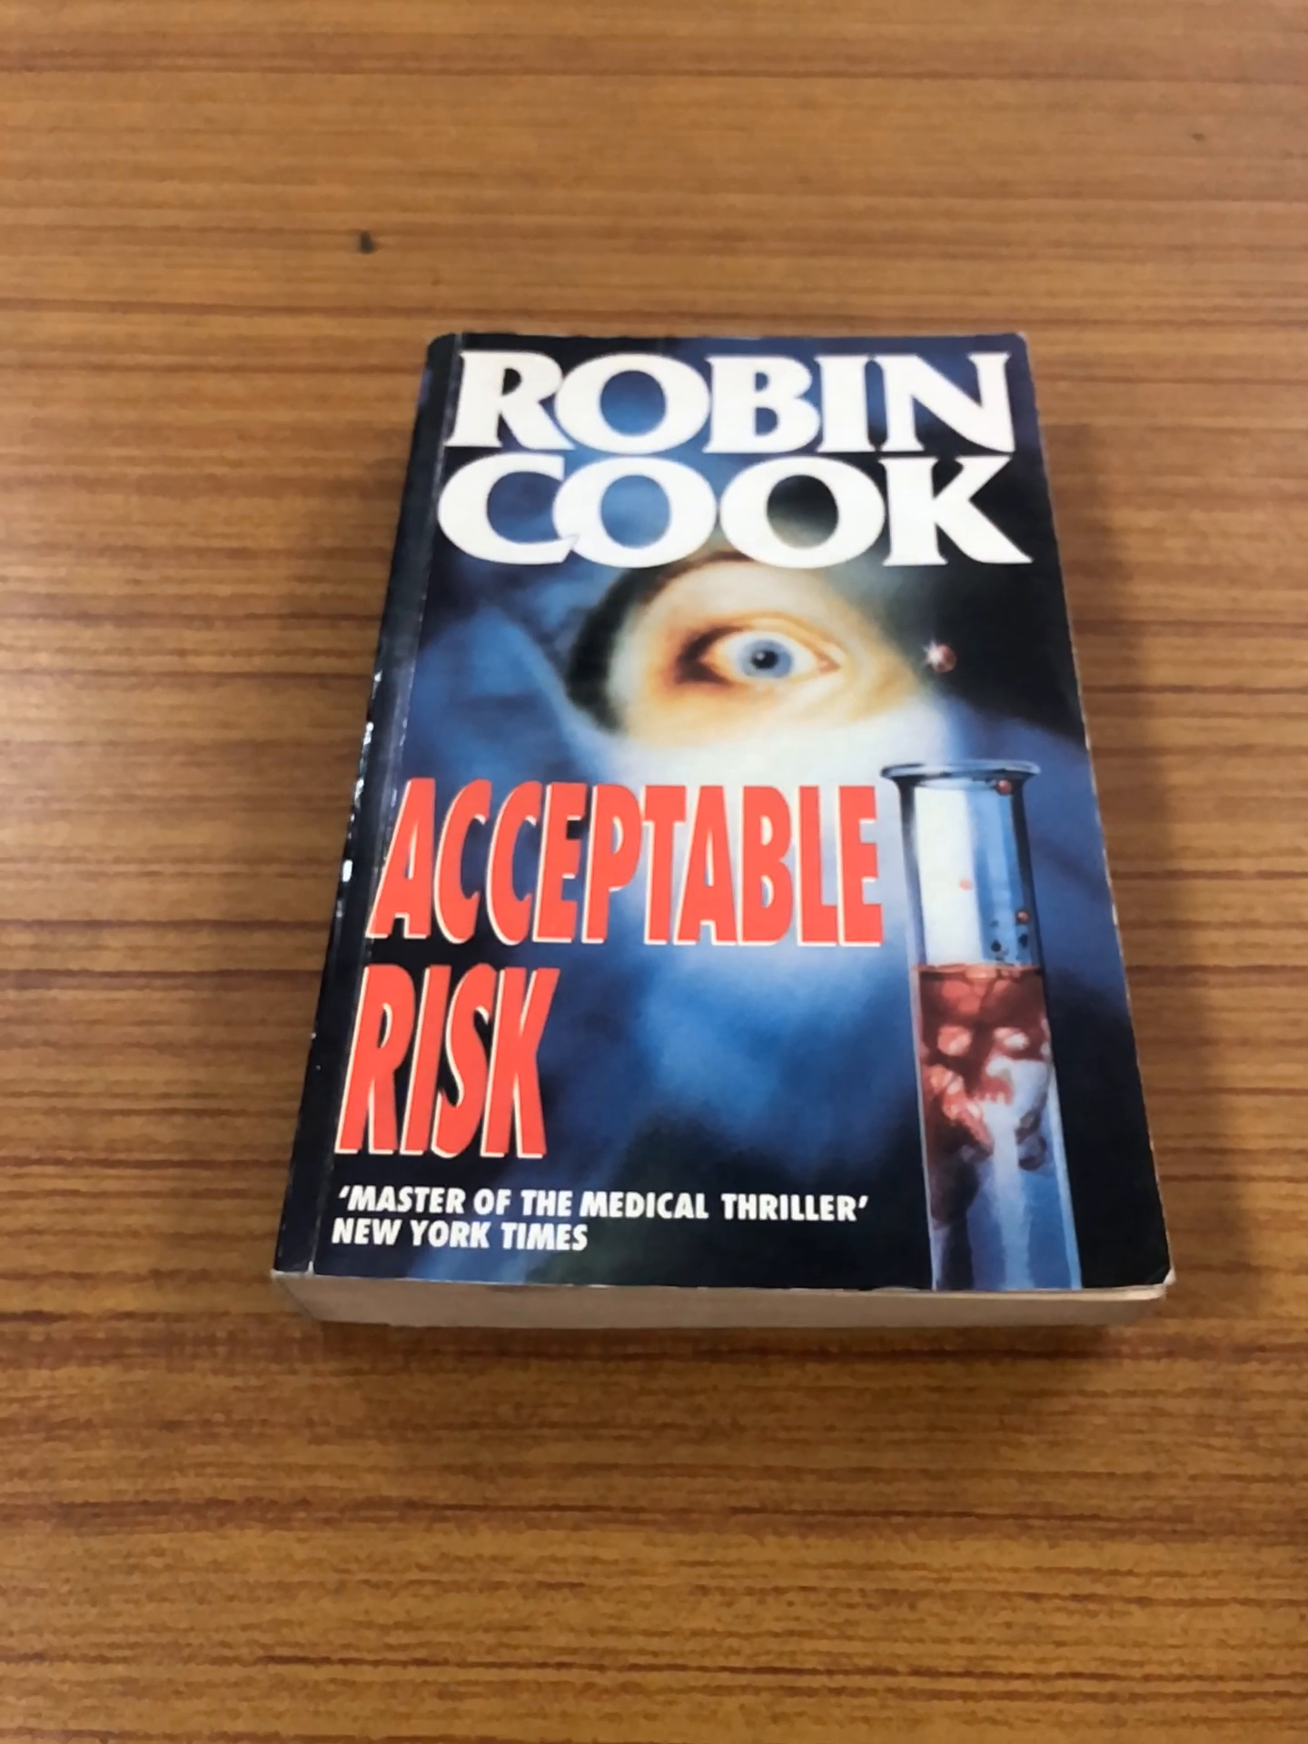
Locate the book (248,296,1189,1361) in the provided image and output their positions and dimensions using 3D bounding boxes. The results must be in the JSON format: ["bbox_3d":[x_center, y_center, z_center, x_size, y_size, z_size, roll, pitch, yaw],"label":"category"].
[{"bbox_3d":[0.011,-0.017,0.234,0.110,0.040,0.170,2,59,1],"label":"book"}]
